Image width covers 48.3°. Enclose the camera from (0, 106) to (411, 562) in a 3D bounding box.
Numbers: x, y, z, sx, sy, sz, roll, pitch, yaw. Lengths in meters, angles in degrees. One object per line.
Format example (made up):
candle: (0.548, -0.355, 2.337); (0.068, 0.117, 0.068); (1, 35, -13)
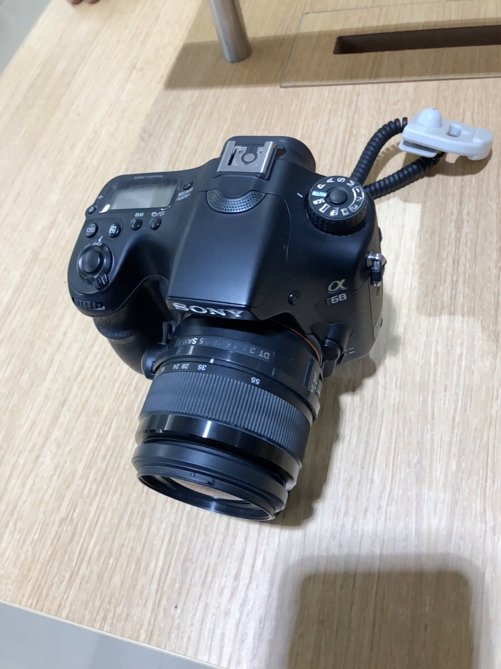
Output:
camera: (-0.020, -0.005, 0.209); (0.140, 0.080, 0.130); (6, 62, 19)
